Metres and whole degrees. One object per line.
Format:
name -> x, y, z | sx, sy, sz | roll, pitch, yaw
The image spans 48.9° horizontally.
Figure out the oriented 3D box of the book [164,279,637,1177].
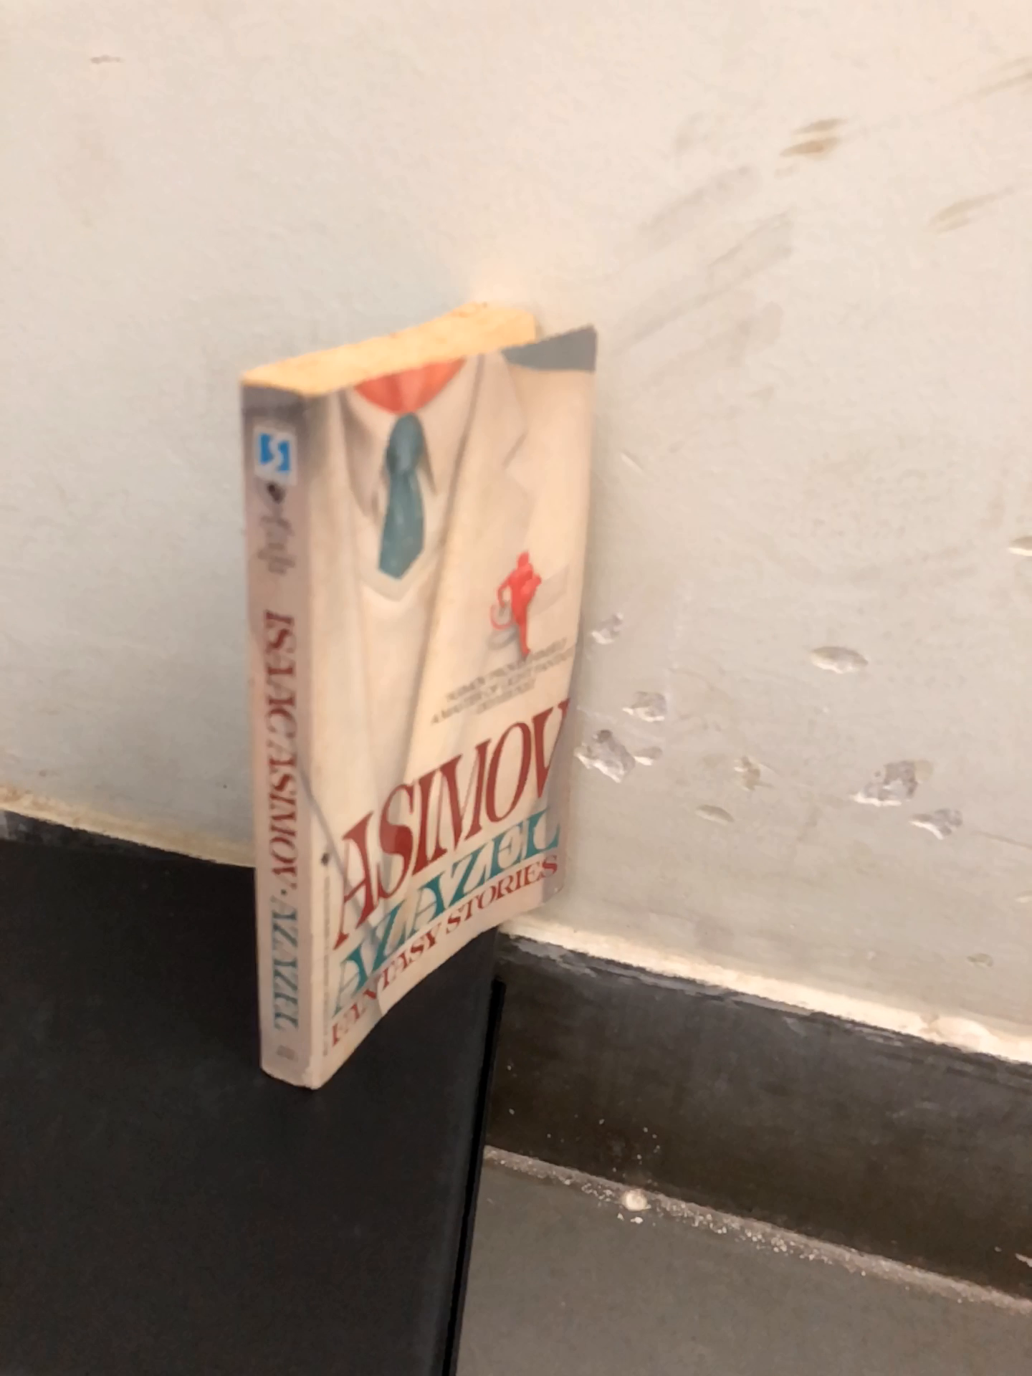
book -> -0.018, 0.001, 0.299 | 0.030, 0.189, 0.151 | 14, 29, 24
